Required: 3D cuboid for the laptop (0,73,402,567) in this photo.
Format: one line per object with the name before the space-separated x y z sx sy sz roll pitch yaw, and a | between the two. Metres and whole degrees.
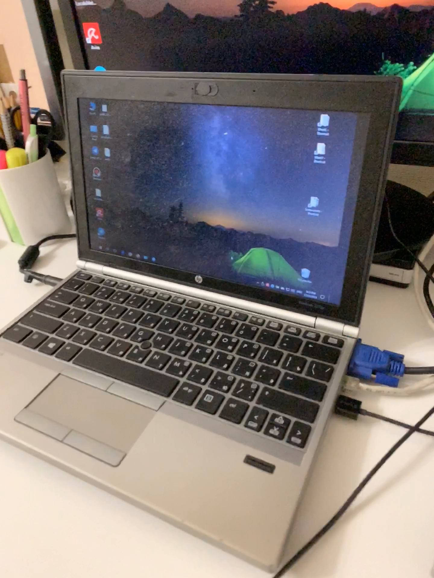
laptop | -0.055 -0.026 0.307 0.284 0.175 0.227 13 40 24
